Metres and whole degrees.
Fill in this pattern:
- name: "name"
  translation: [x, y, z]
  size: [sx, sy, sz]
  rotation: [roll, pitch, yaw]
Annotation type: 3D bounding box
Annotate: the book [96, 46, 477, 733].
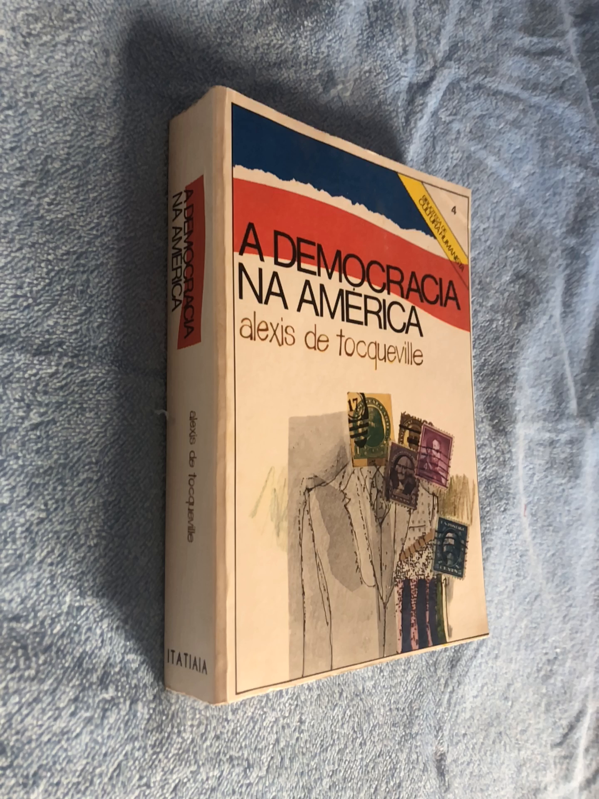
- name: "book"
  translation: [0.005, -0.001, 0.257]
  size: [0.141, 0.050, 0.200]
  rotation: [6, 82, -40]
